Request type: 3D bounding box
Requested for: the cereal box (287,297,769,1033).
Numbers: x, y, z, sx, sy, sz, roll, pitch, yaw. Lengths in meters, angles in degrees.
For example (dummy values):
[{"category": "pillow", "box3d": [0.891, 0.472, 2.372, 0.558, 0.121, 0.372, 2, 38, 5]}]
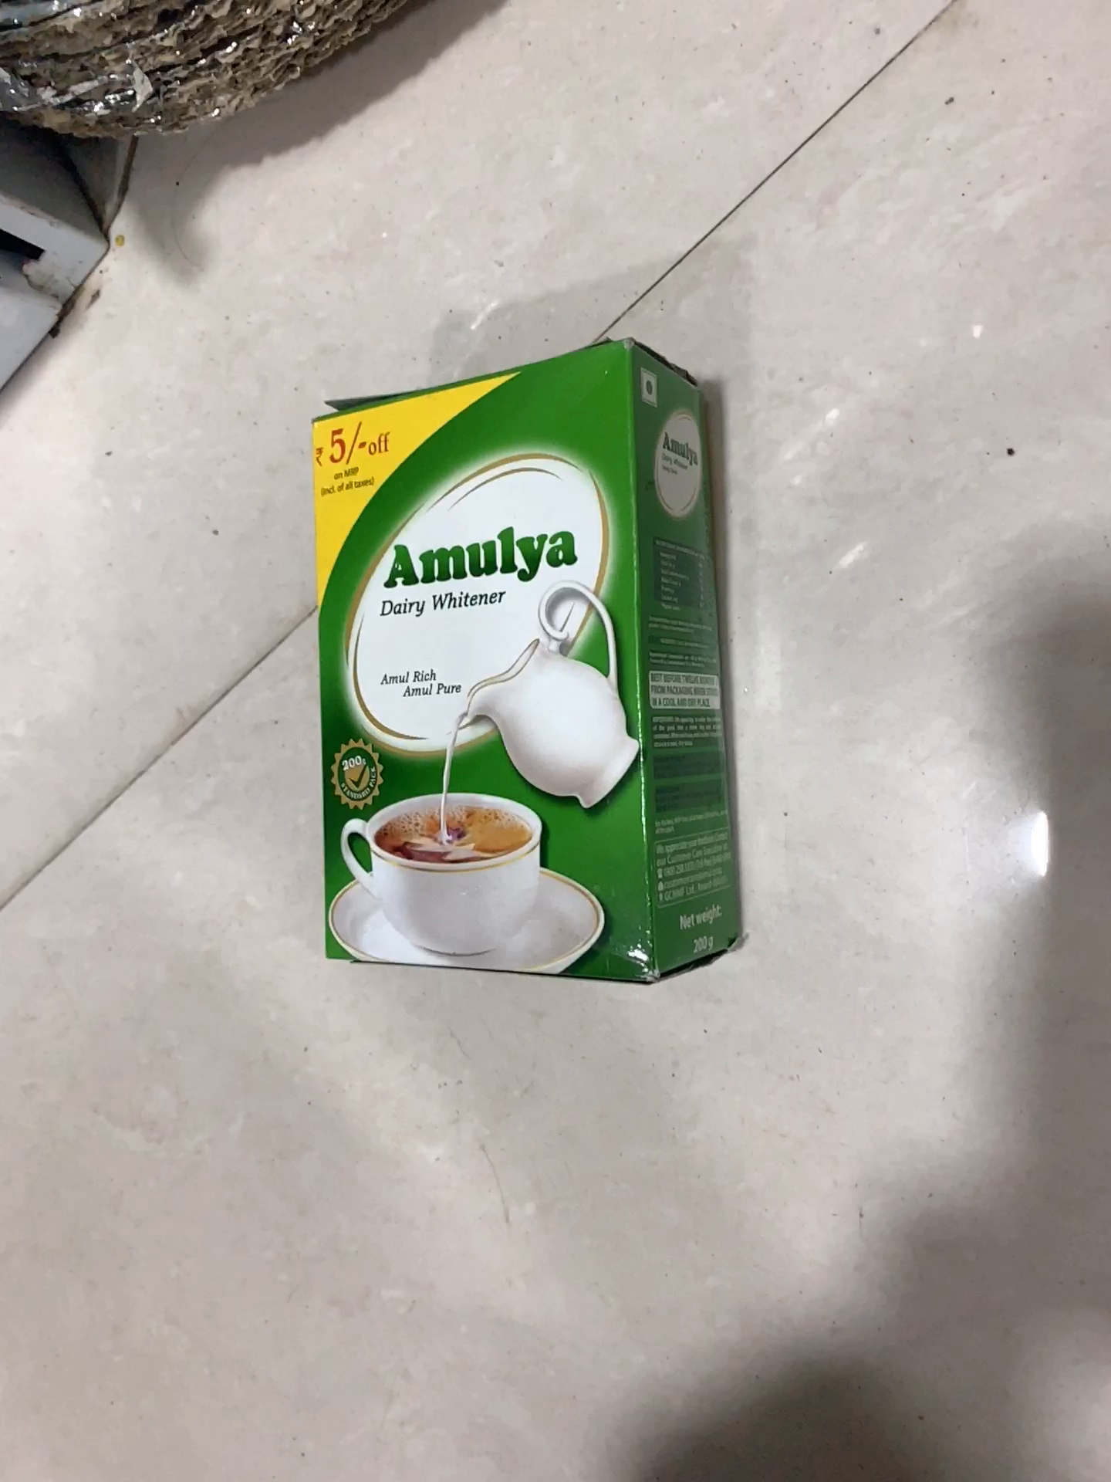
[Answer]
[{"category": "cereal box", "box3d": [-0.006, -0.013, 0.267, 0.090, 0.060, 0.140, -2, 89, 31]}]
